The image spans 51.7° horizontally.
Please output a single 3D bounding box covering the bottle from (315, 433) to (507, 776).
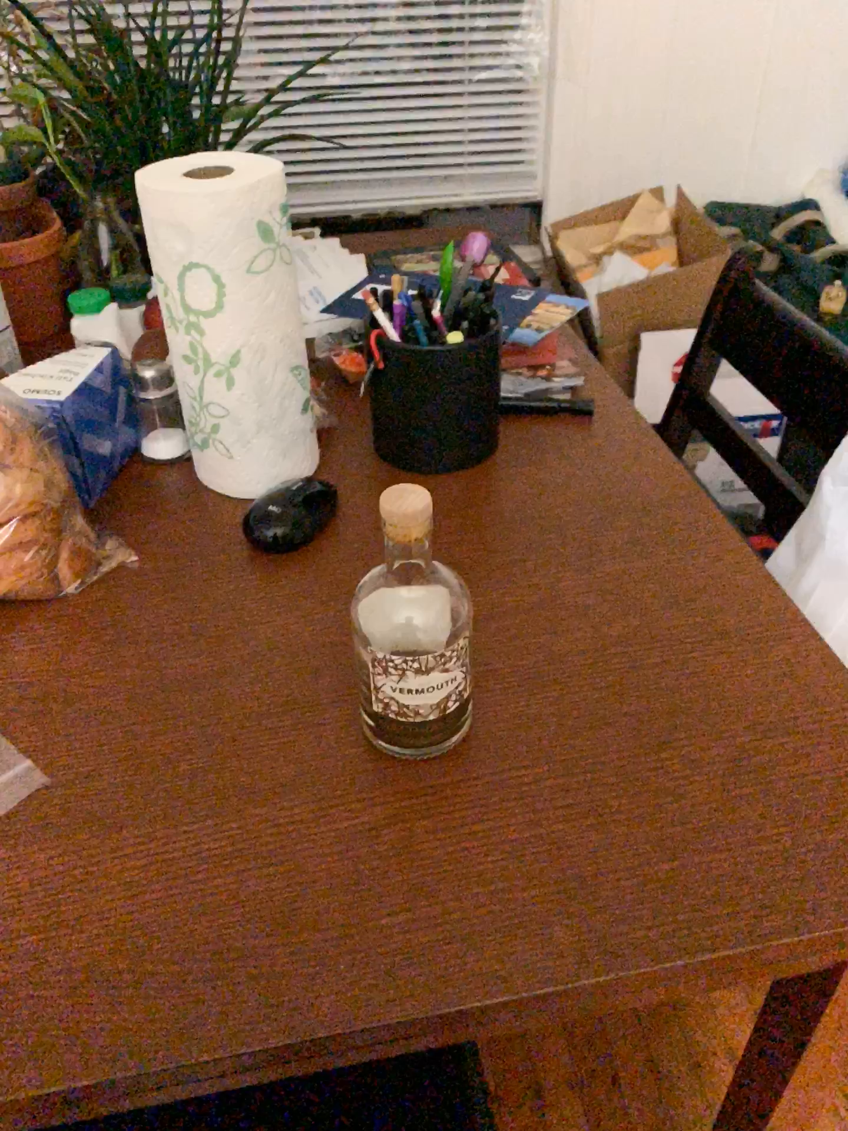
[{"bbox_3d":[-0.007,0.027,0.535,0.090,0.189,0.080,-9,38,-9],"label":"bottle"}]
